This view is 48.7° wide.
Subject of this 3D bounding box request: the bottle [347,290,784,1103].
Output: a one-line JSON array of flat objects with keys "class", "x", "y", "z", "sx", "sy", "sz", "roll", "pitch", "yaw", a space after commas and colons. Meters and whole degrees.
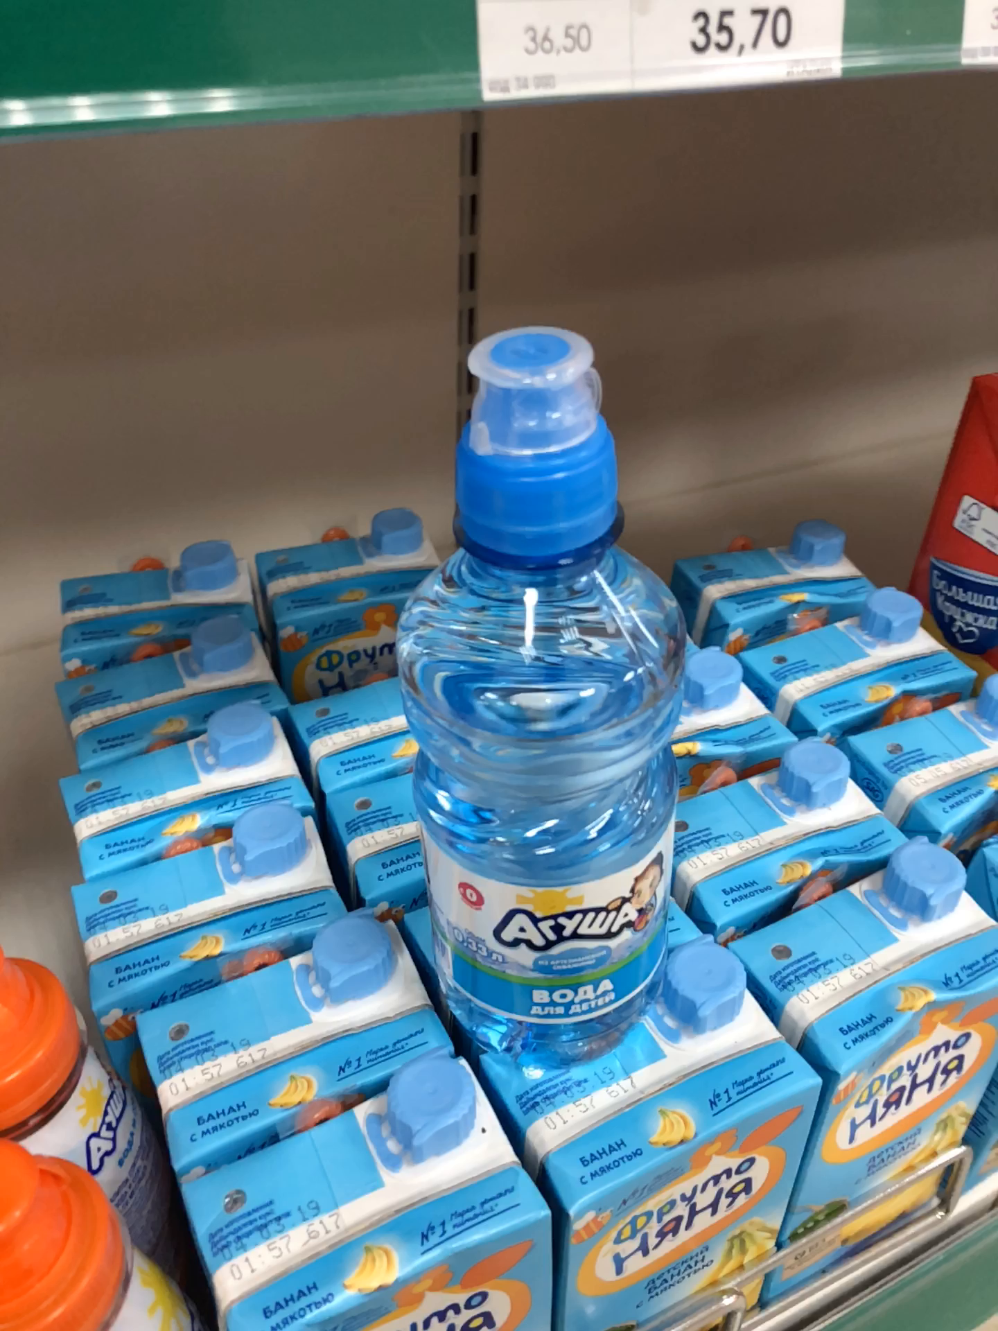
[{"class": "bottle", "x": 0.010, "y": 0.016, "z": 0.244, "sx": 0.060, "sy": 0.173, "sz": 0.056, "roll": -1, "pitch": 38, "yaw": 1}]
